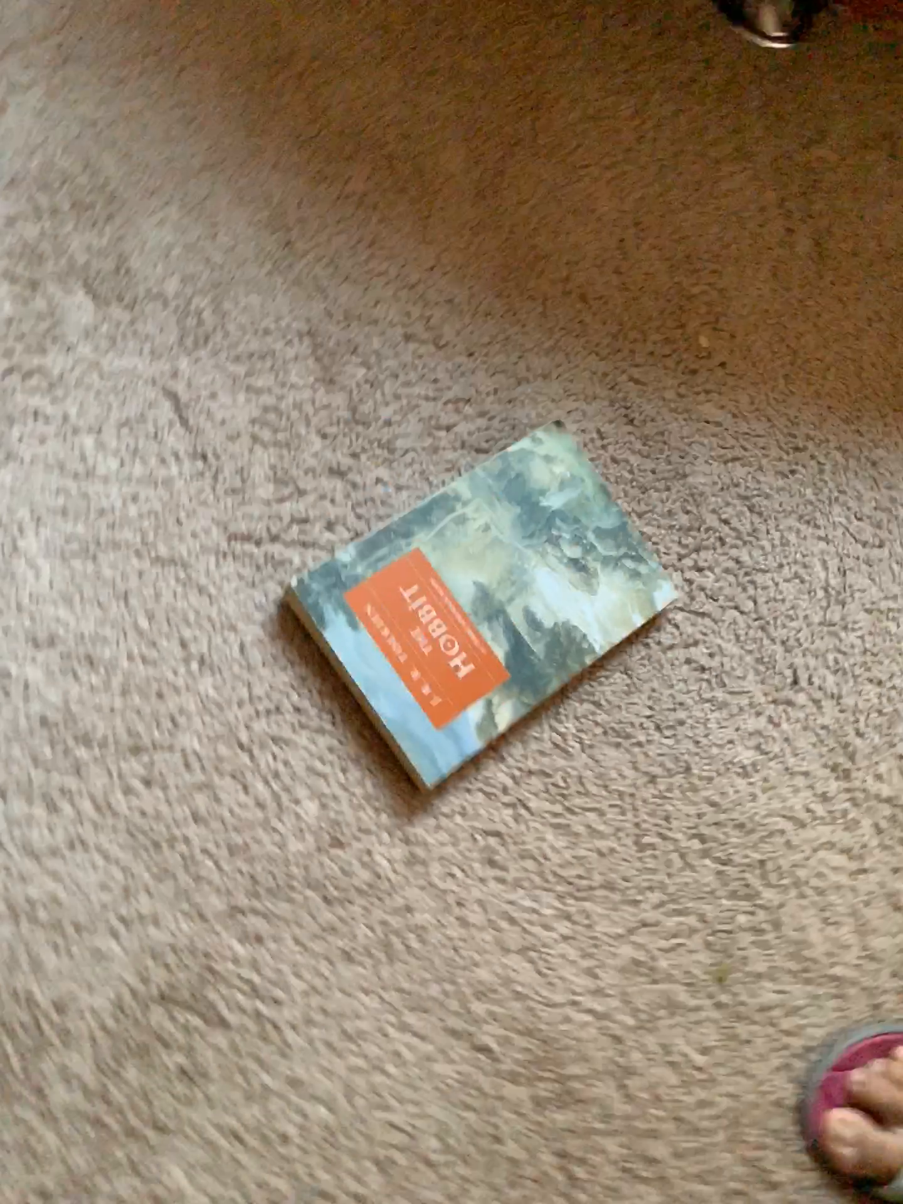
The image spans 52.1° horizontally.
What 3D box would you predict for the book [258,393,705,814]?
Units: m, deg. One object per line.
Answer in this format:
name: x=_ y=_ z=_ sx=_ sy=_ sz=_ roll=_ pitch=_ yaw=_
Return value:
book: x=0.022 y=-0.004 z=0.547 sx=0.220 sy=0.030 sz=0.150 roll=-35 pitch=88 yaw=-18
